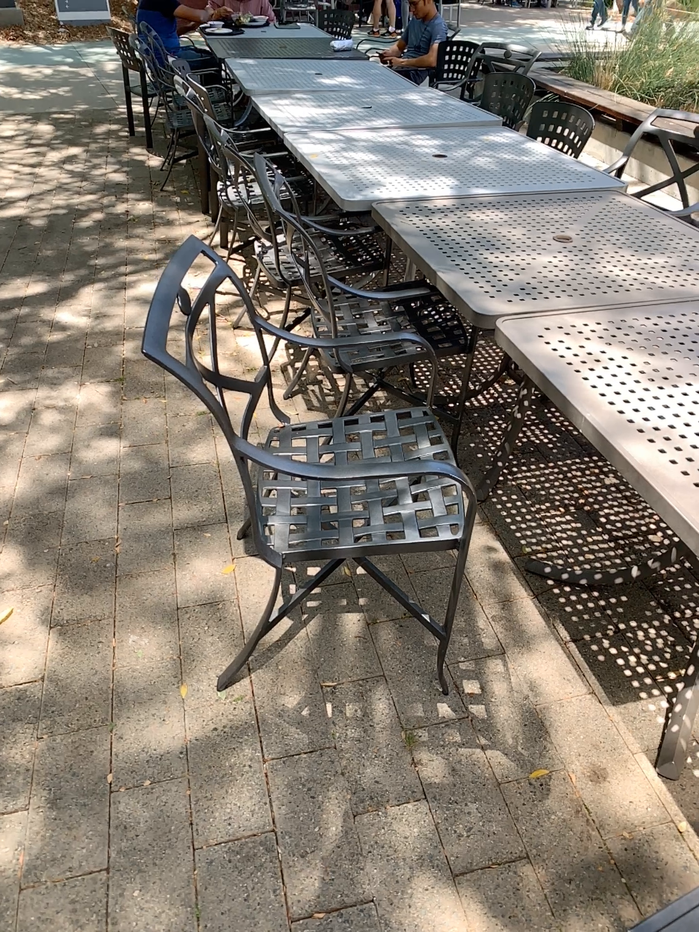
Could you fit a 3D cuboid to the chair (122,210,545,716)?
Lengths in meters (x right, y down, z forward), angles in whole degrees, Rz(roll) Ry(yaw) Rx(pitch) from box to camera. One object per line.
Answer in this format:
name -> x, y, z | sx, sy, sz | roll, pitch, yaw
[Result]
chair -> -0.039, -0.005, 1.543 | 0.610, 0.885, 0.634 | 0, 37, -2
